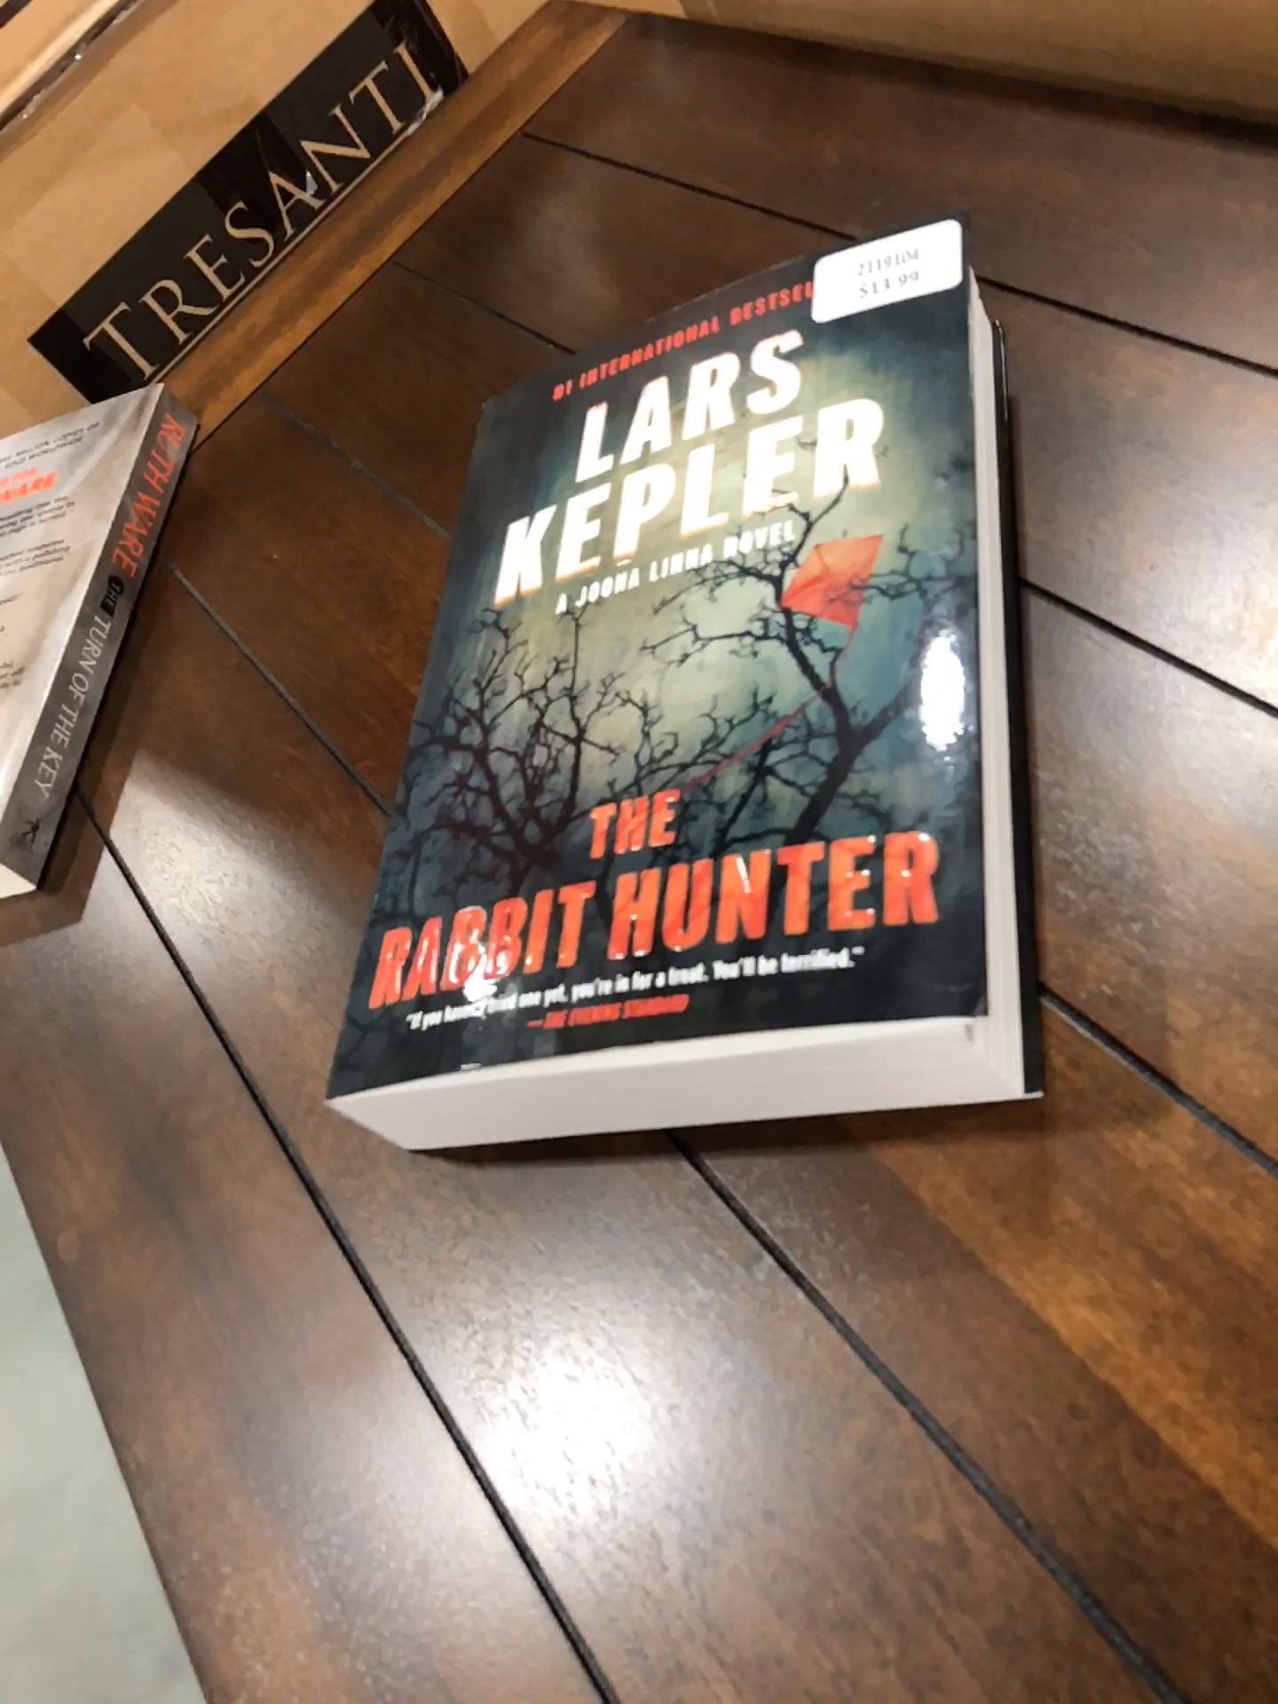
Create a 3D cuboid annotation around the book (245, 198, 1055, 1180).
[{"bbox_3d":[0.008,-0.041,0.339,0.160,0.046,0.222,-10,55,26],"label":"book"}]
